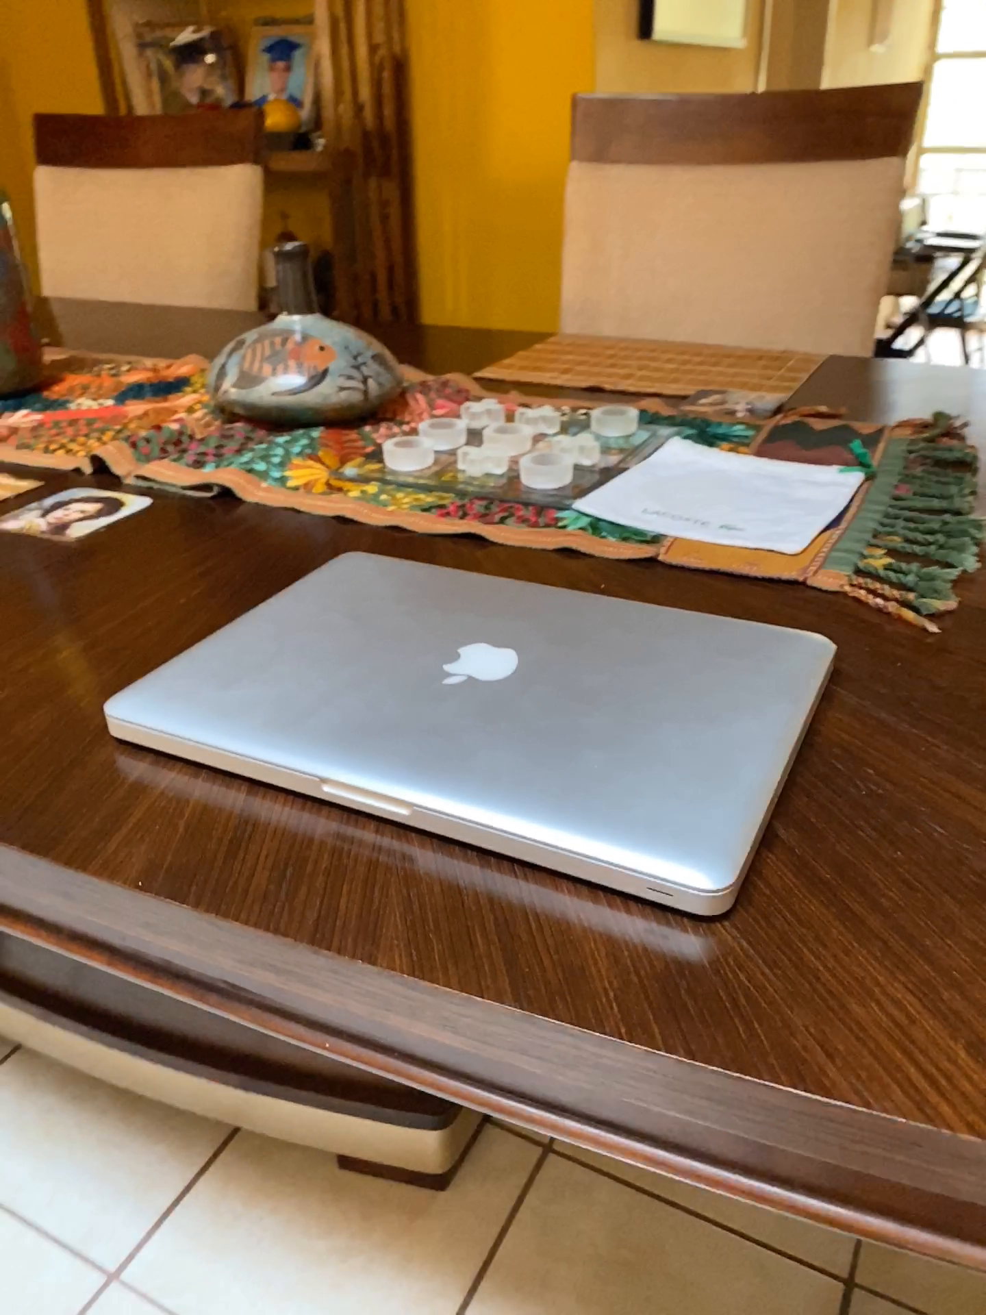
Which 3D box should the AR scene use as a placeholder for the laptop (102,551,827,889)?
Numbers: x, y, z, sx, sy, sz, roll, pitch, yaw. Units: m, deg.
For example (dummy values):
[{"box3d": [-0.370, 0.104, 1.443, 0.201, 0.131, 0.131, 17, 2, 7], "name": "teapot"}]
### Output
[{"box3d": [-0.006, 0.008, 0.550, 0.324, 0.002, 0.233, 12, 31, 24], "name": "laptop"}]
